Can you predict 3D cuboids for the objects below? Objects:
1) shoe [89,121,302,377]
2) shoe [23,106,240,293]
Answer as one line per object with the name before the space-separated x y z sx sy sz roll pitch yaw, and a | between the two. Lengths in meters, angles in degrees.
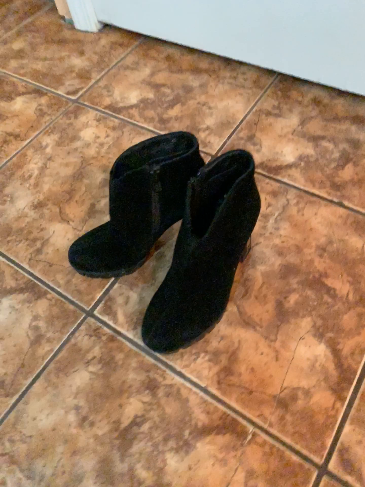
shoe | 0.029 0.011 0.440 0.094 0.180 0.230 30 65 23
shoe | -0.053 -0.047 0.487 0.229 0.180 0.094 -16 57 -4
